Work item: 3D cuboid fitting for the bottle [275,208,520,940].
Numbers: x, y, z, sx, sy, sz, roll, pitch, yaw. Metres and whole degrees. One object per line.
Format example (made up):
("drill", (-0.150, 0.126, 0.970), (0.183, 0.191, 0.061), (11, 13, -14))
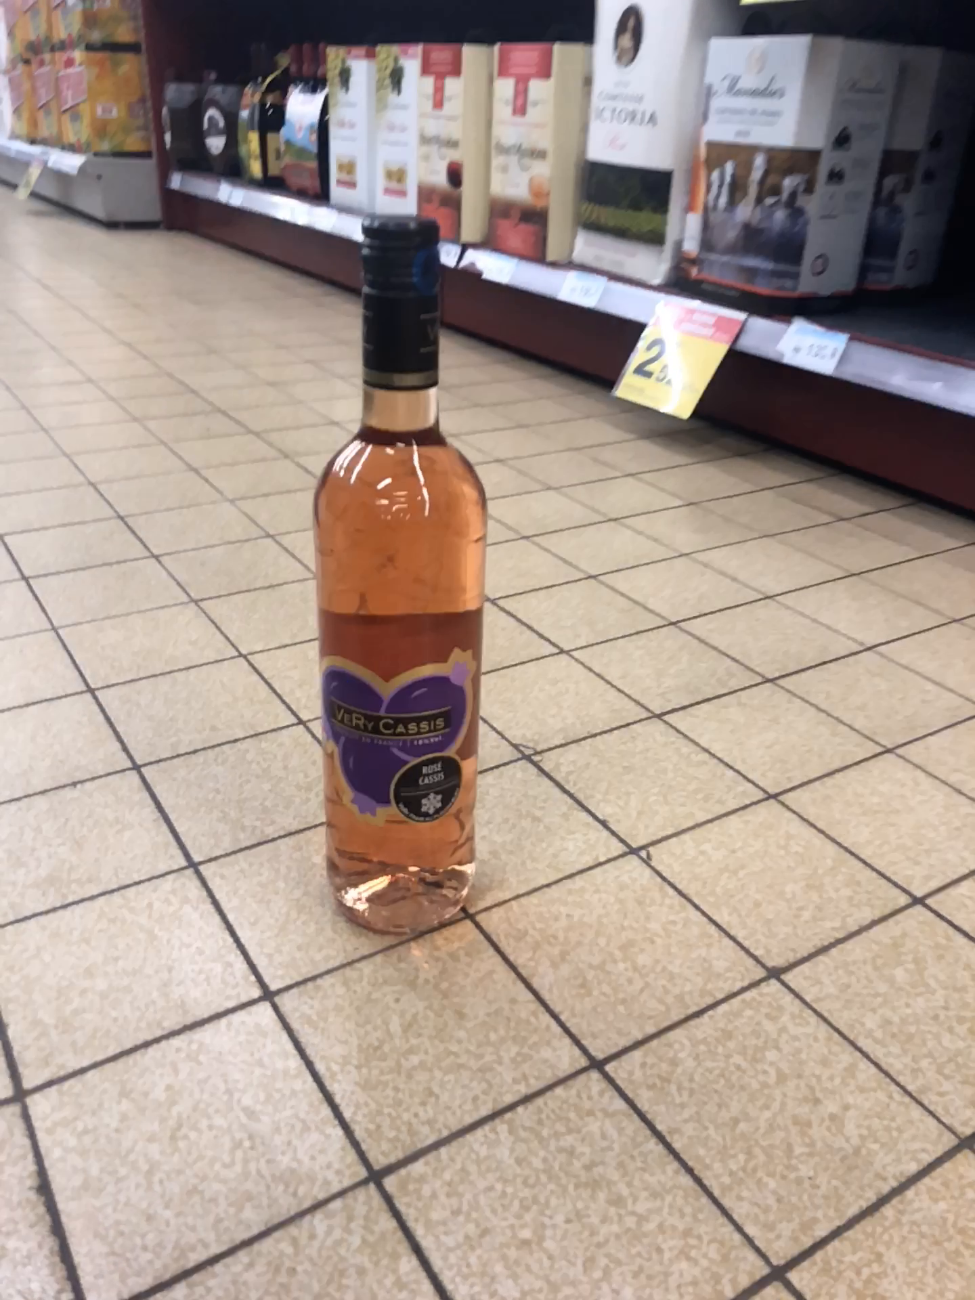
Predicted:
("bottle", (-0.038, -0.021, 0.451), (0.080, 0.298, 0.080), (2, 26, -1))
